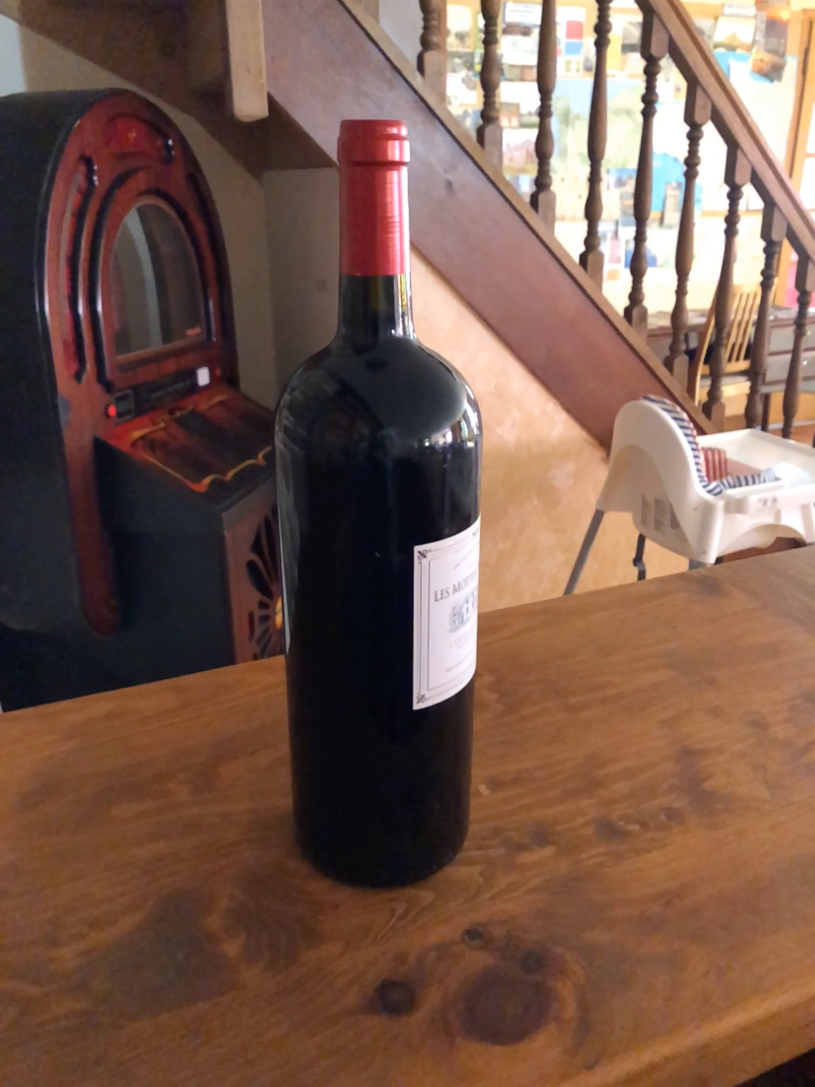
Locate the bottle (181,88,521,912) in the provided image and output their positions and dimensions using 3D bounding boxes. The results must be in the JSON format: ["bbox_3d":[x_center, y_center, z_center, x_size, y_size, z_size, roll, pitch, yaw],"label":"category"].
[{"bbox_3d":[-0.017,-0.013,0.421,0.100,0.348,0.101,0,21,0],"label":"bottle"}]
